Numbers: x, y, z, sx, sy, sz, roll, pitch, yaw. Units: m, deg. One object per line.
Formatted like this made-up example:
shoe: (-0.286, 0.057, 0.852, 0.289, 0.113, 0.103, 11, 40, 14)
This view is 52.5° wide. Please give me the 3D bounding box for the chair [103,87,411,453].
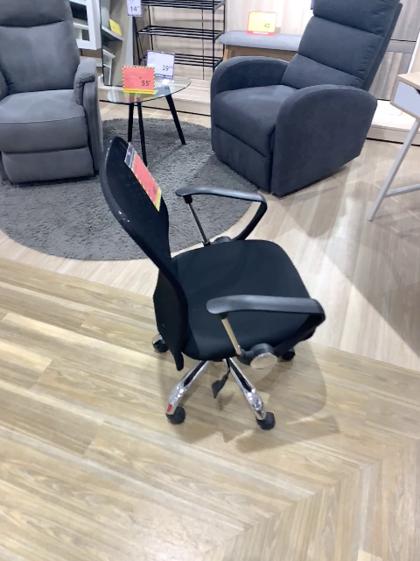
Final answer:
chair: (0.050, -0.023, 1.332, 0.600, 0.865, 0.644, -7, 43, -7)
